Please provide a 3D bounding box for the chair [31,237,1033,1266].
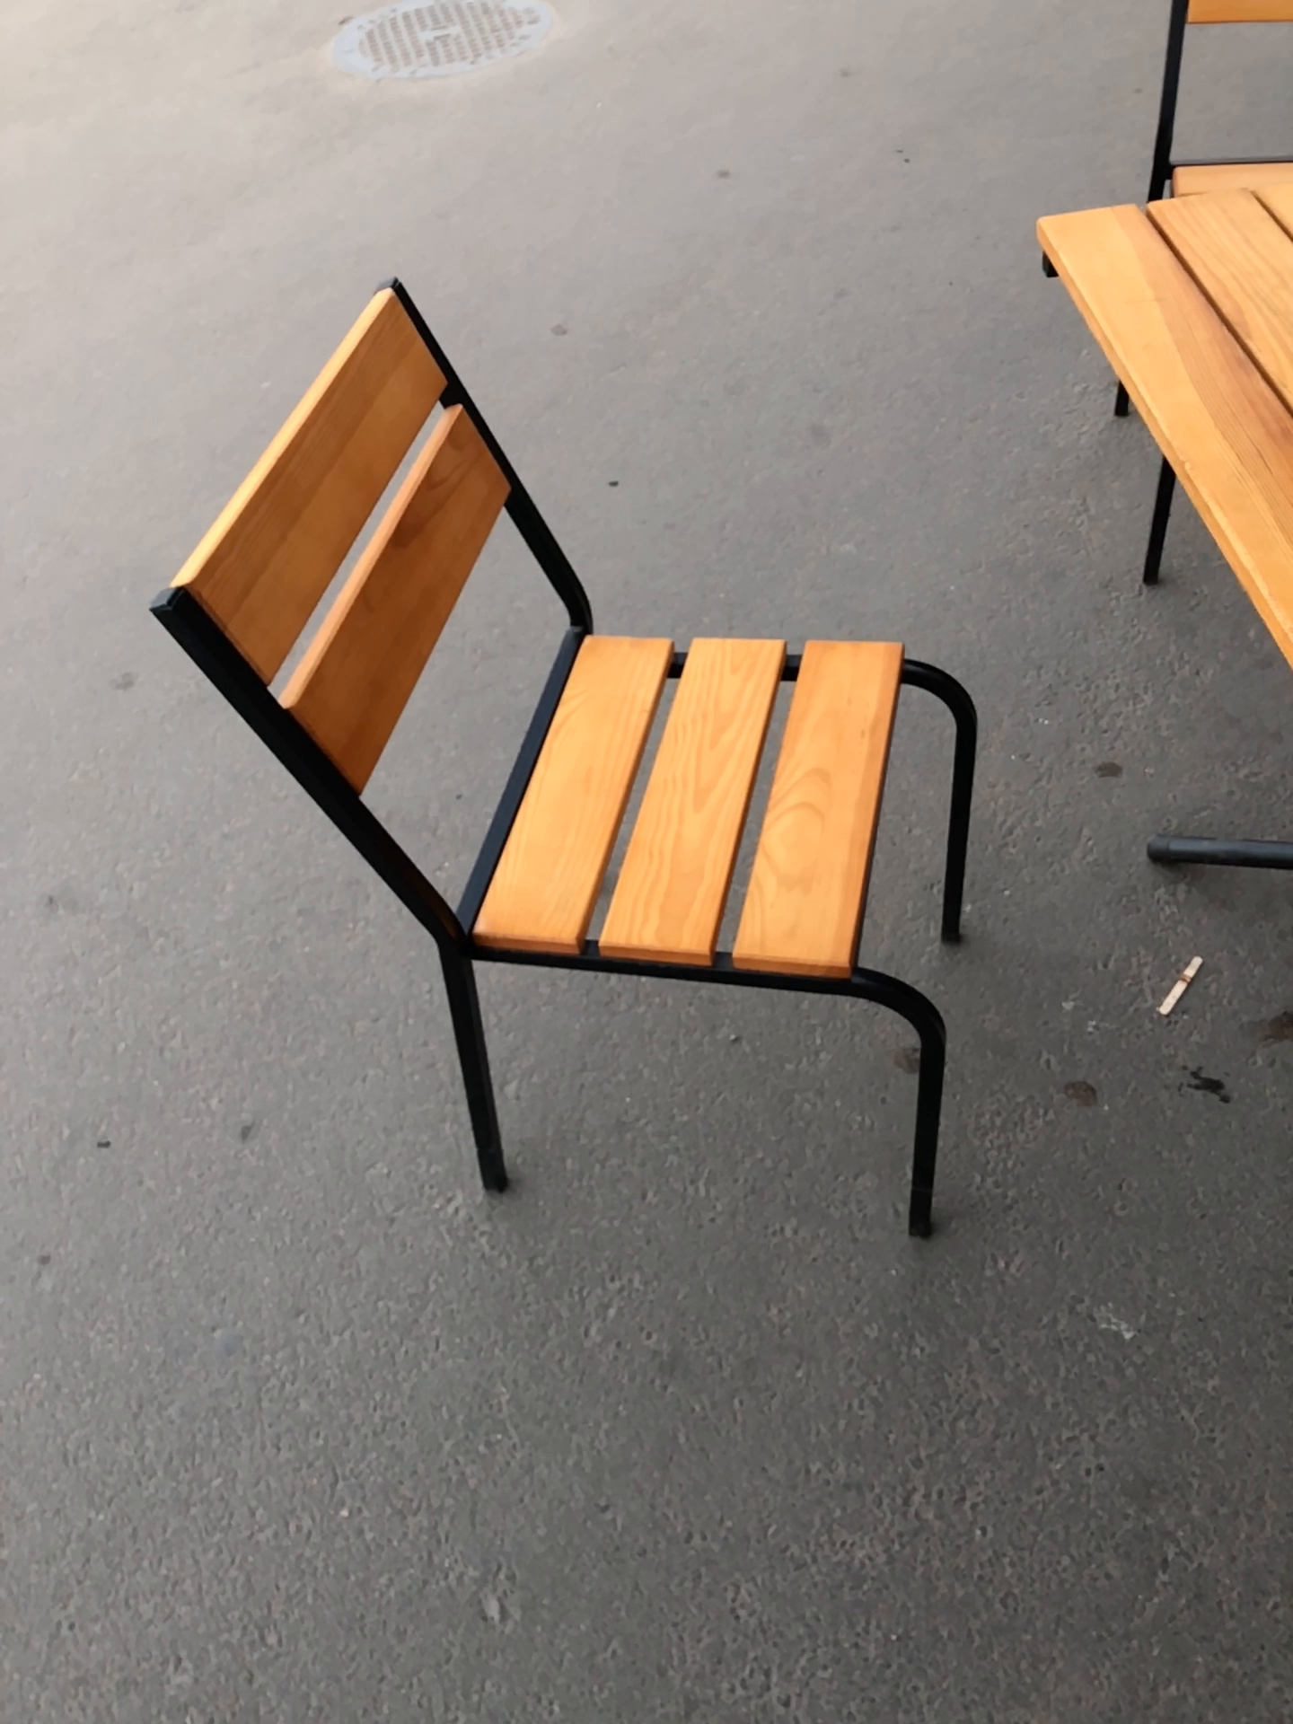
[{"bbox_3d":[-0.009,-0.088,1.177,0.550,0.638,0.491,6,49,15],"label":"chair"}]
